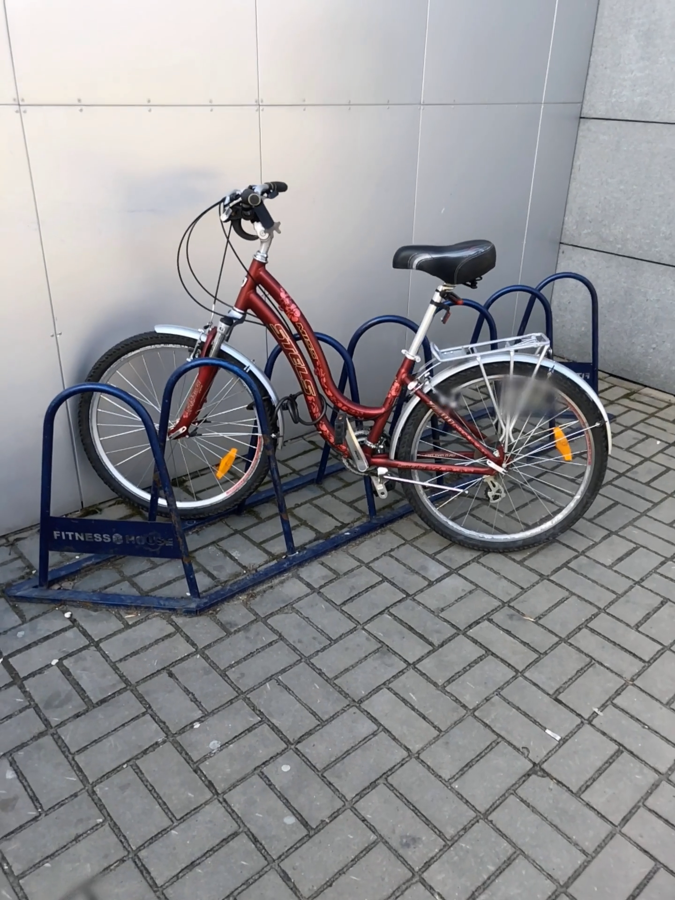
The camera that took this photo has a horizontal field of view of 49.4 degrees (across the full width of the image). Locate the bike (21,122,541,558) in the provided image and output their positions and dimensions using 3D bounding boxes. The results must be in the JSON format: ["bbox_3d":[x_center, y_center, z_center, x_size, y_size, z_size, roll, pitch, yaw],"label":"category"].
[{"bbox_3d":[-0.150,-0.373,2.274,1.304,0.972,0.599,9,27,5],"label":"bike"}]
